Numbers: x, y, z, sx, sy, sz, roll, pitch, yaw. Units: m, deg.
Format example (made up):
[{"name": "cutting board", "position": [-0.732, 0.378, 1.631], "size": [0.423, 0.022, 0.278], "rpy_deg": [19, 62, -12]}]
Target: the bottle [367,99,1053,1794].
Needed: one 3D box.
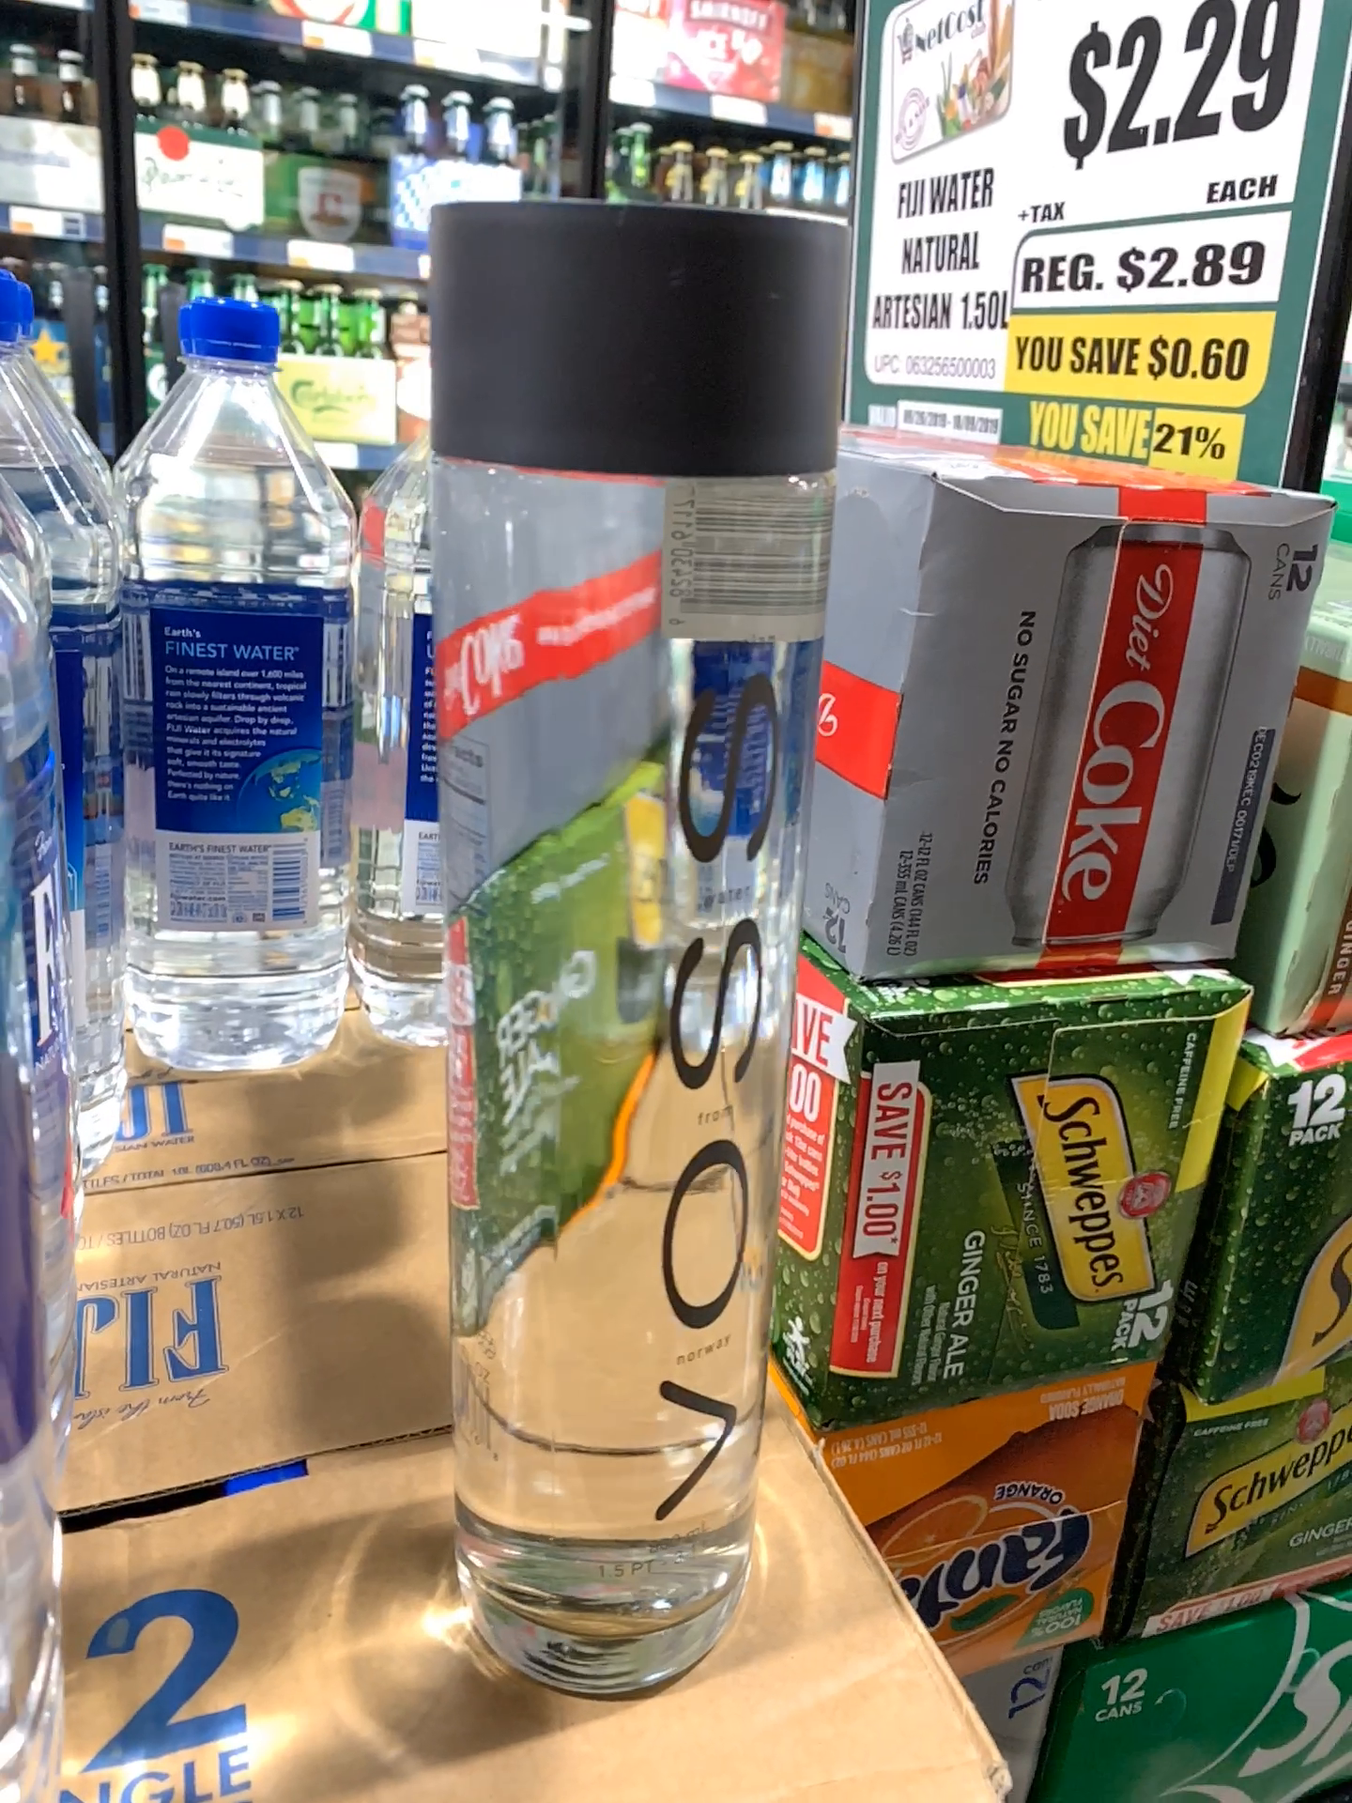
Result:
[{"name": "bottle", "position": [-0.009, 0.020, 0.267], "size": [0.080, 0.289, 0.080], "rpy_deg": [4, 21, -1]}]
